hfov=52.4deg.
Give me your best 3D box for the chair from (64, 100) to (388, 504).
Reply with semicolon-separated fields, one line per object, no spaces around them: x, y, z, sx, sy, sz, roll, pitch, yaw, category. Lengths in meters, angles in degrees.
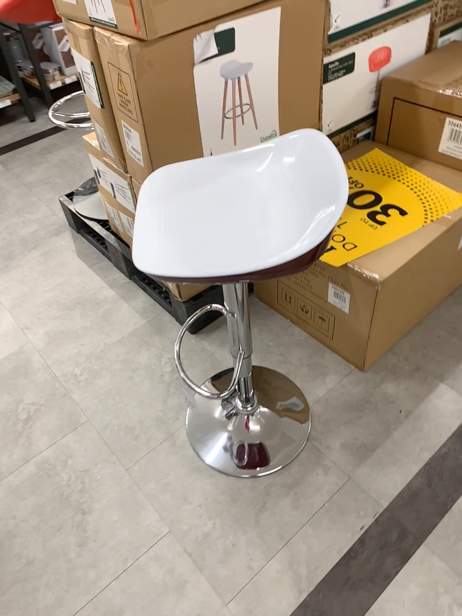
0.004;0.038;1.090;0.452;0.797;0.447;-8;45;-1;chair
